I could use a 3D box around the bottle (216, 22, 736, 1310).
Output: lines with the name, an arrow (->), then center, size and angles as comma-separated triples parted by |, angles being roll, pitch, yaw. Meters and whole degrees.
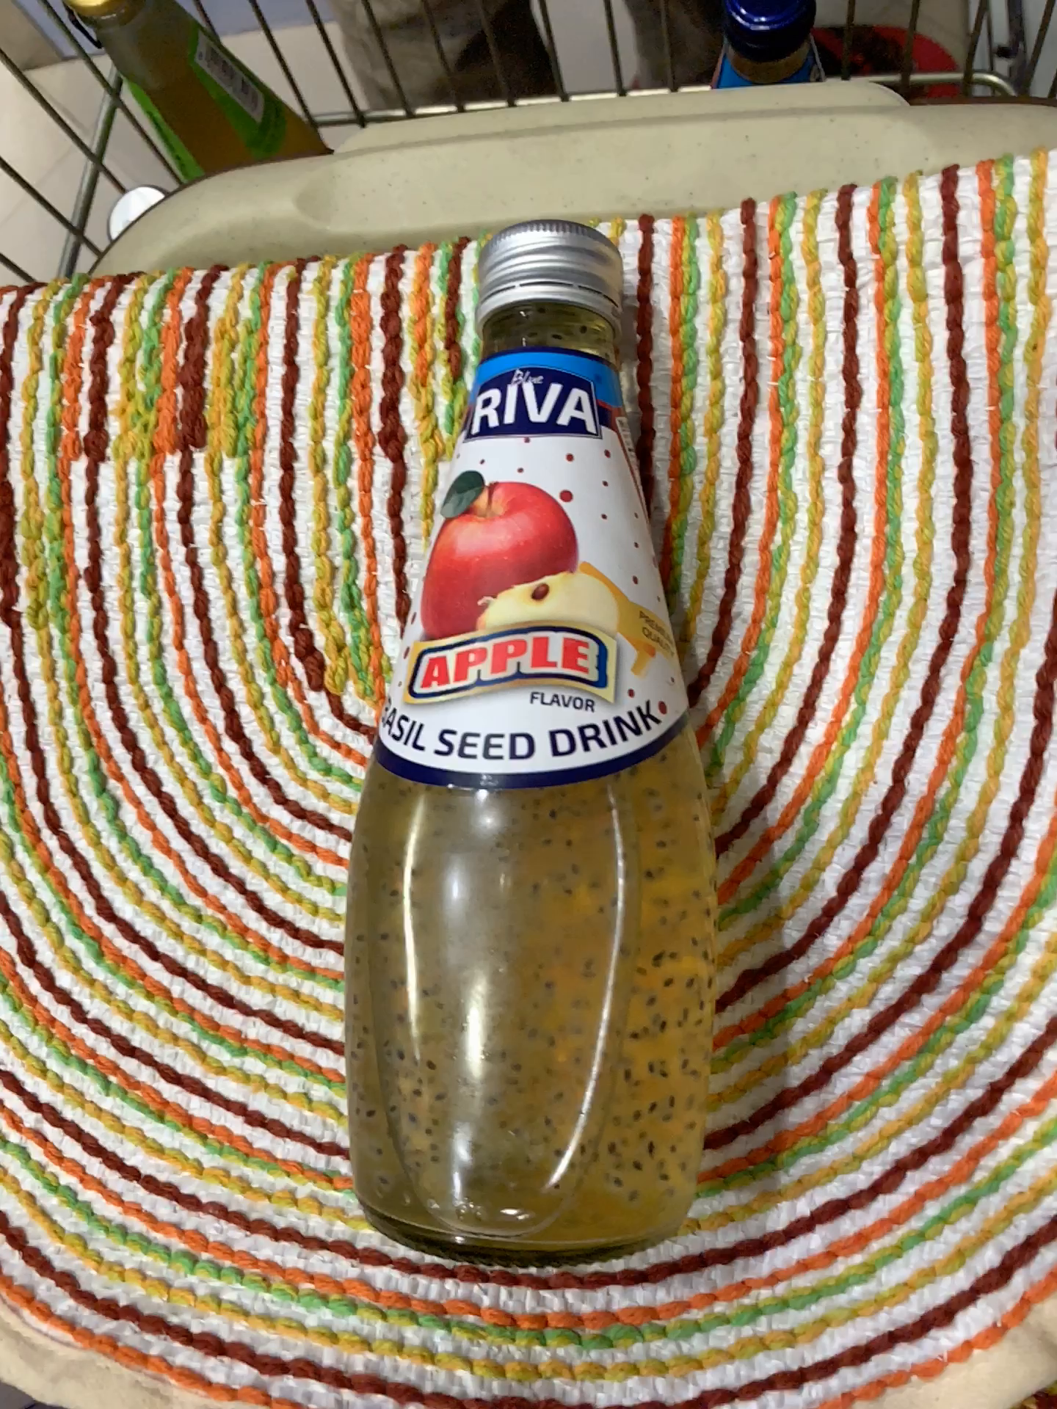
bottle -> -0.001, -0.013, 0.197 | 0.070, 0.050, 0.200 | 0, 78, 13
